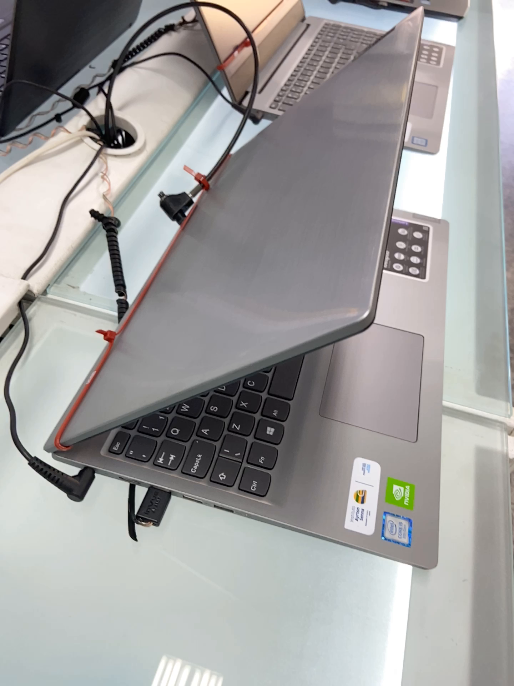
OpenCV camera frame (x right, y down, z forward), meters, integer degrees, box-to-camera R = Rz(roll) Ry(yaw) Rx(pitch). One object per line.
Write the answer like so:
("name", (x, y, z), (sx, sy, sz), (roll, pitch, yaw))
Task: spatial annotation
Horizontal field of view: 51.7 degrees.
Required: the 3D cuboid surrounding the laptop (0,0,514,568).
("laptop", (0.042, -0.084, 0.376), (0.244, 0.175, 0.361), (15, 49, 6))
